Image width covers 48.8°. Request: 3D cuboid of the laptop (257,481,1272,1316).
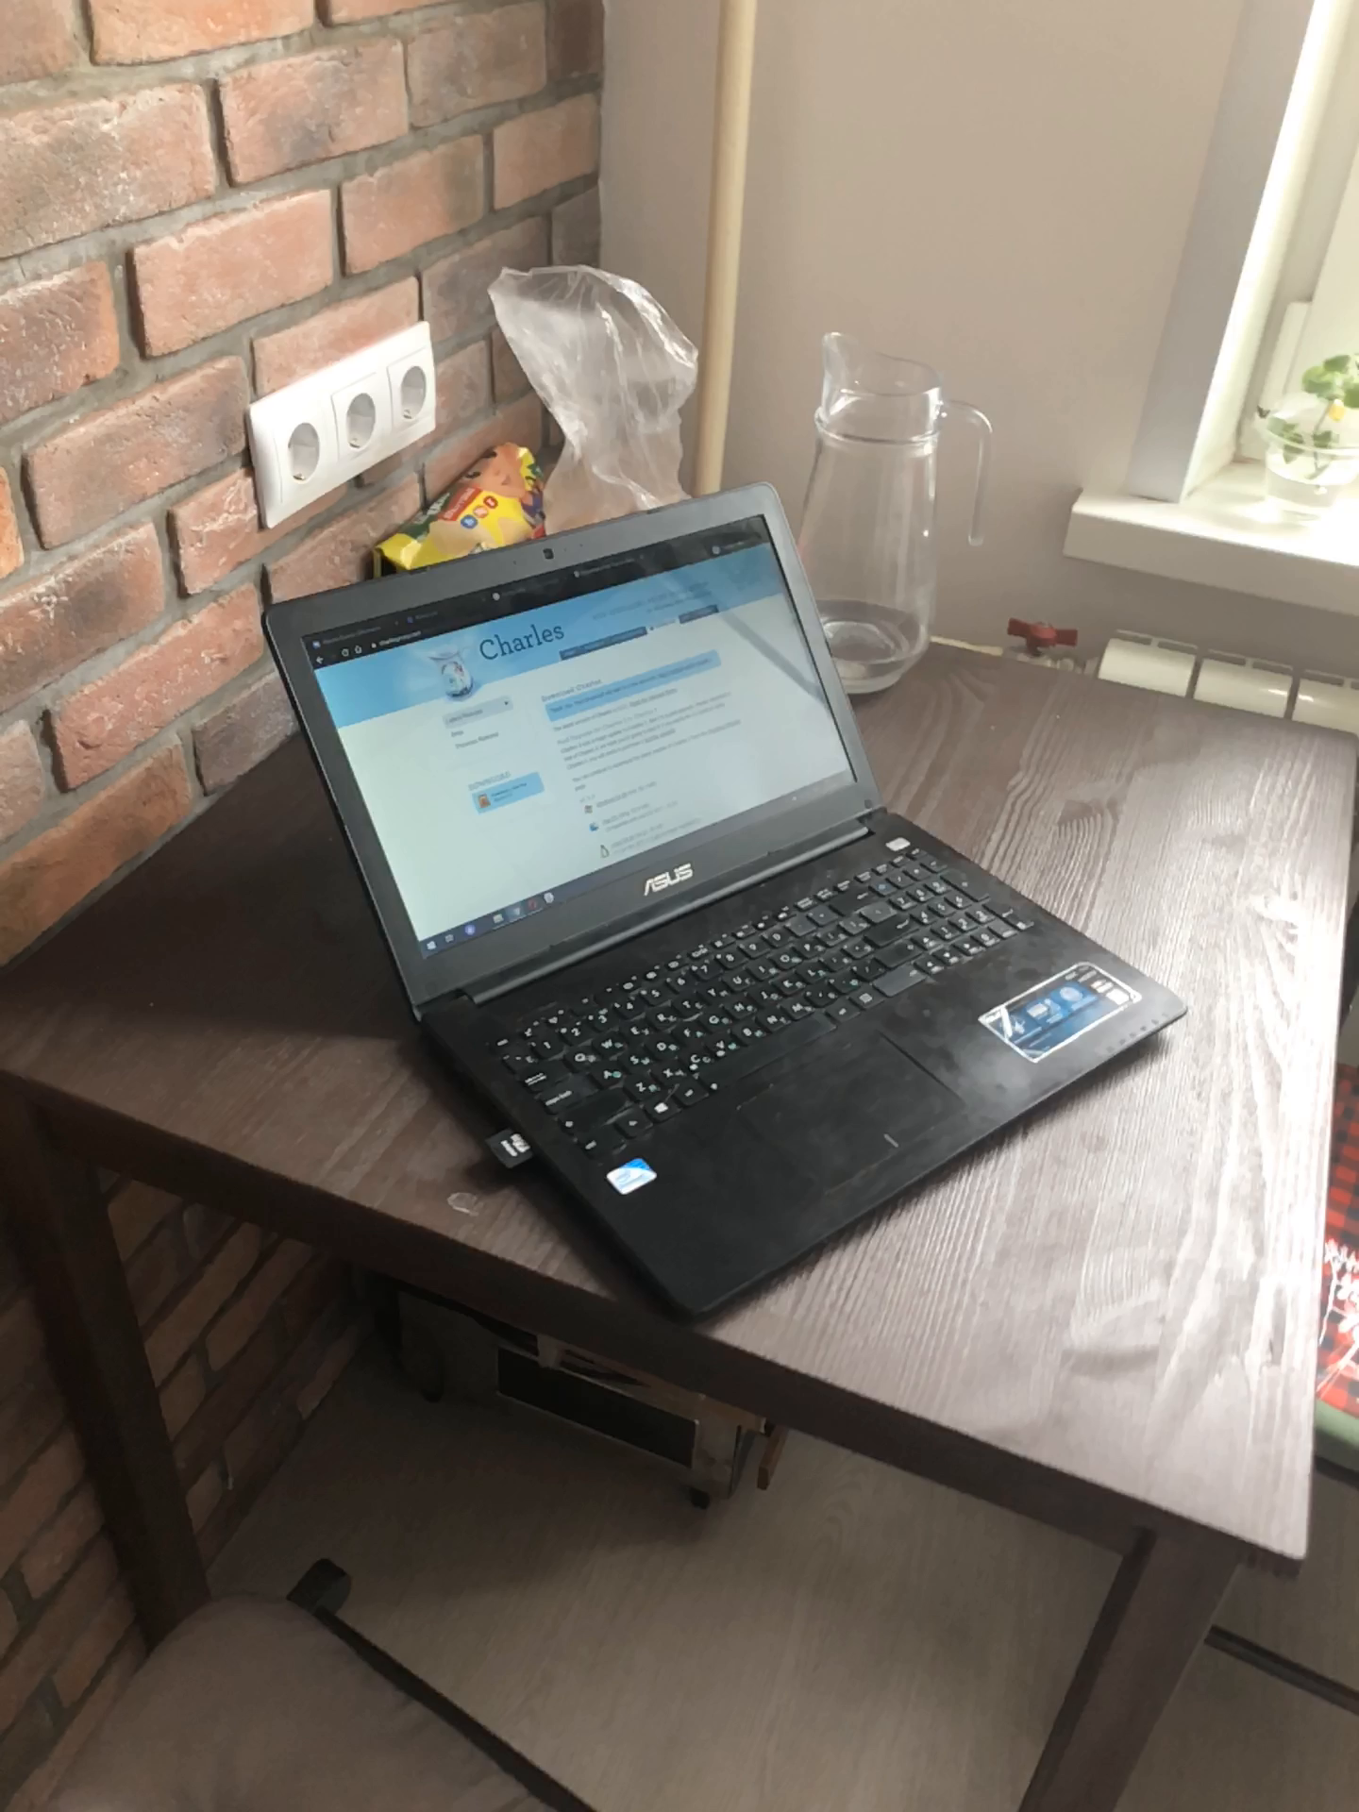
[{"bbox_3d":[0.032,-0.051,0.851,0.373,0.186,0.401,-23,44,-31],"label":"laptop"}]
